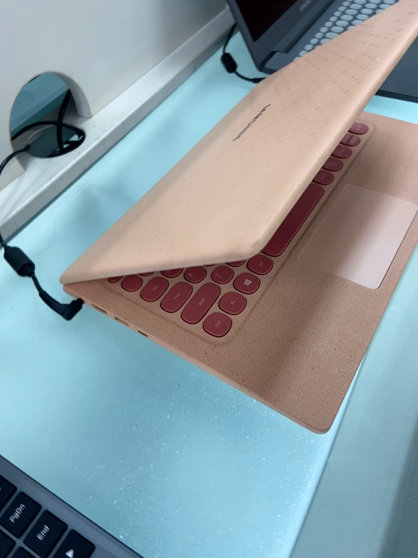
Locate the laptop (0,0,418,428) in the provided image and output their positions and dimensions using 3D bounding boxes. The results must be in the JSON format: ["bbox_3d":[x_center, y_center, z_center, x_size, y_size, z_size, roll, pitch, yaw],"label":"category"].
[{"bbox_3d":[0.058,-0.105,0.323,0.211,0.129,0.324,24,57,23],"label":"laptop"}]
